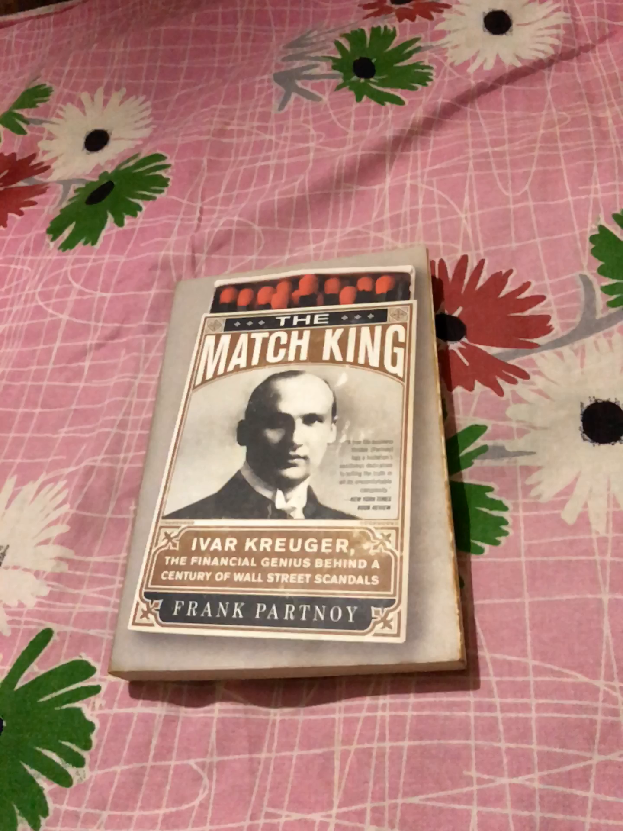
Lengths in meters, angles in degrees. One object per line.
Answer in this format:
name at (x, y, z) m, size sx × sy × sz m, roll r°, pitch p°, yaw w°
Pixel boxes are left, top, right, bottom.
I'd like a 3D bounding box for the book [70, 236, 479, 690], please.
book at (-0.012, 0.008, 0.352) m, size 0.160 × 0.030 × 0.240 m, roll -6°, pitch 51°, yaw 10°
